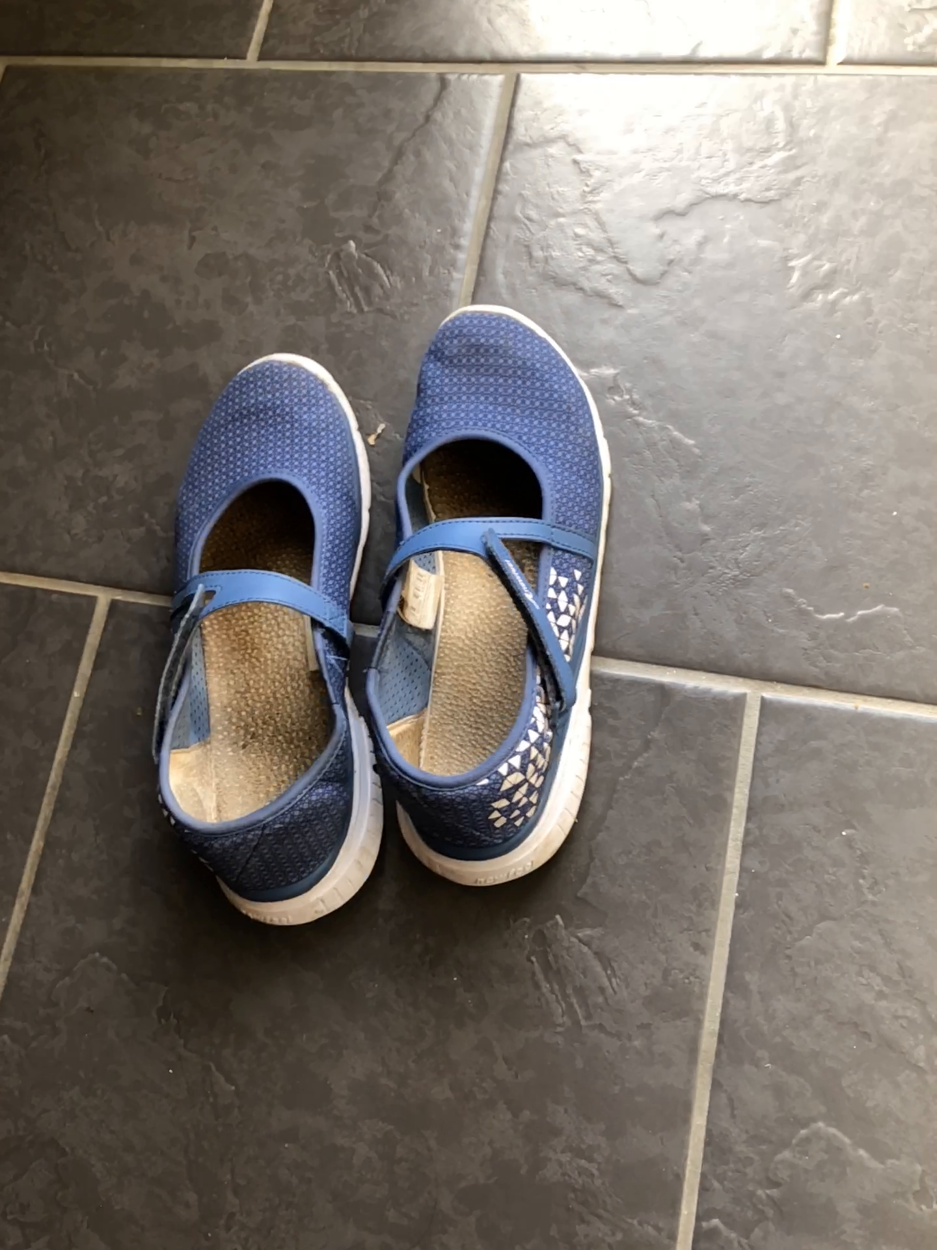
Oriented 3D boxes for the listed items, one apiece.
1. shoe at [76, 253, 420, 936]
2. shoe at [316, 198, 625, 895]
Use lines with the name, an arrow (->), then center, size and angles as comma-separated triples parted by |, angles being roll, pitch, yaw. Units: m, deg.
shoe -> -0.097, -0.008, 0.495 | 0.110, 0.120, 0.291 | -6, 74, 10
shoe -> 0.010, -0.027, 0.478 | 0.110, 0.120, 0.291 | -2, 75, 11
